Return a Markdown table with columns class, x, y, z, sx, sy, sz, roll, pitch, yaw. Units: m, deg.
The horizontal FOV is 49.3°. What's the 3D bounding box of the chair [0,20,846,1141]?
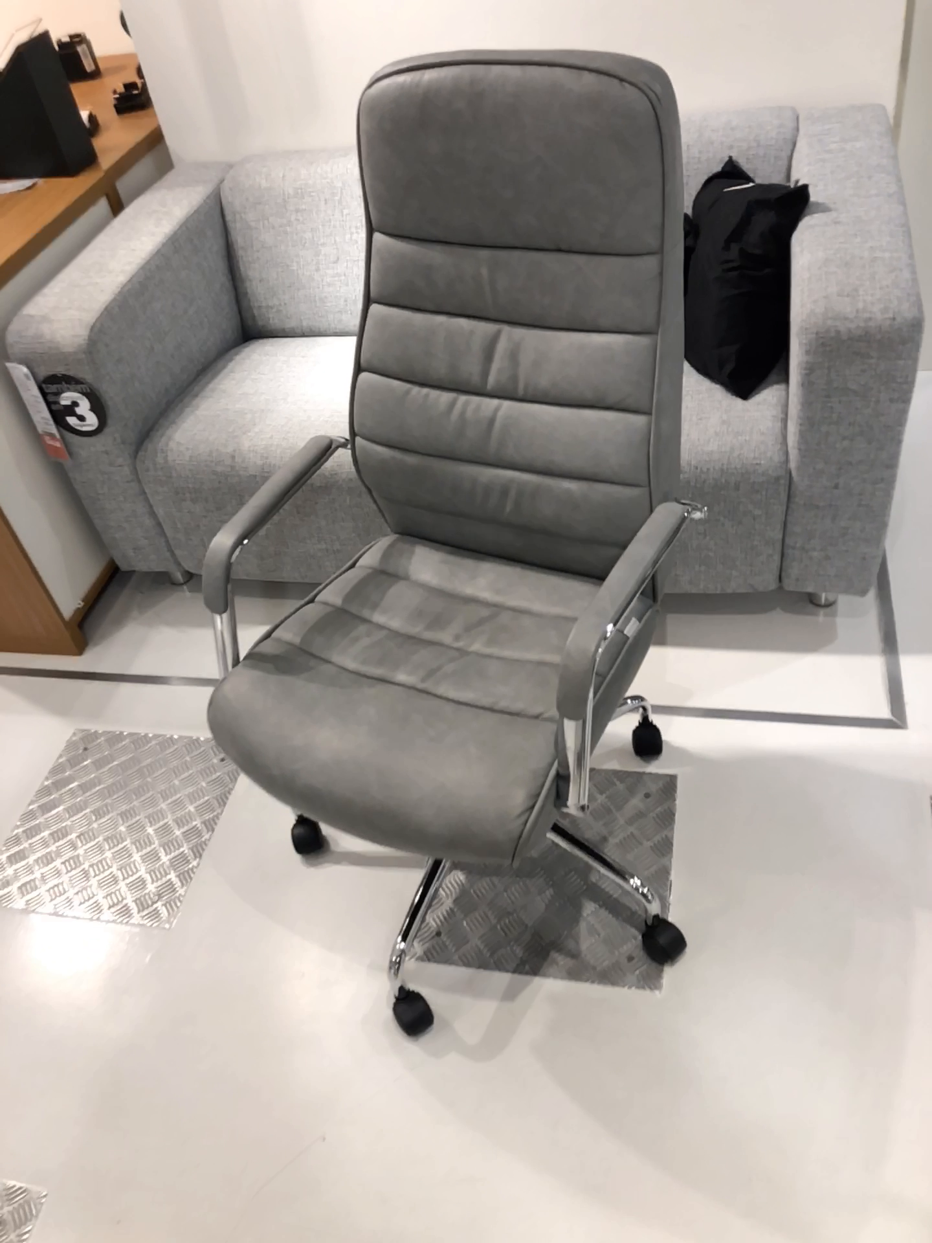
| class | x | y | z | sx | sy | sz | roll | pitch | yaw |
| --- | --- | --- | --- | --- | --- | --- | --- | --- | --- |
| chair | -0.035 | -0.051 | 1.285 | 0.721 | 1.052 | 0.724 | 15 | 49 | 26 |
